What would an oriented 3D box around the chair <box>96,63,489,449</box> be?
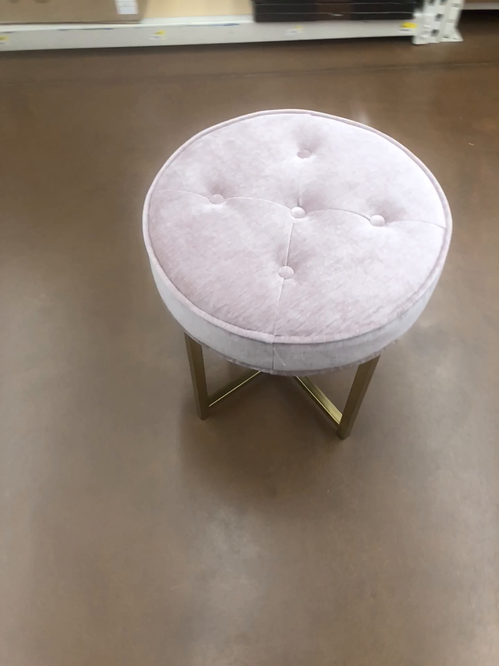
[{"bbox_3d":[0.068,-0.119,0.921,0.450,0.389,0.471,4,58,3],"label":"chair"}]
